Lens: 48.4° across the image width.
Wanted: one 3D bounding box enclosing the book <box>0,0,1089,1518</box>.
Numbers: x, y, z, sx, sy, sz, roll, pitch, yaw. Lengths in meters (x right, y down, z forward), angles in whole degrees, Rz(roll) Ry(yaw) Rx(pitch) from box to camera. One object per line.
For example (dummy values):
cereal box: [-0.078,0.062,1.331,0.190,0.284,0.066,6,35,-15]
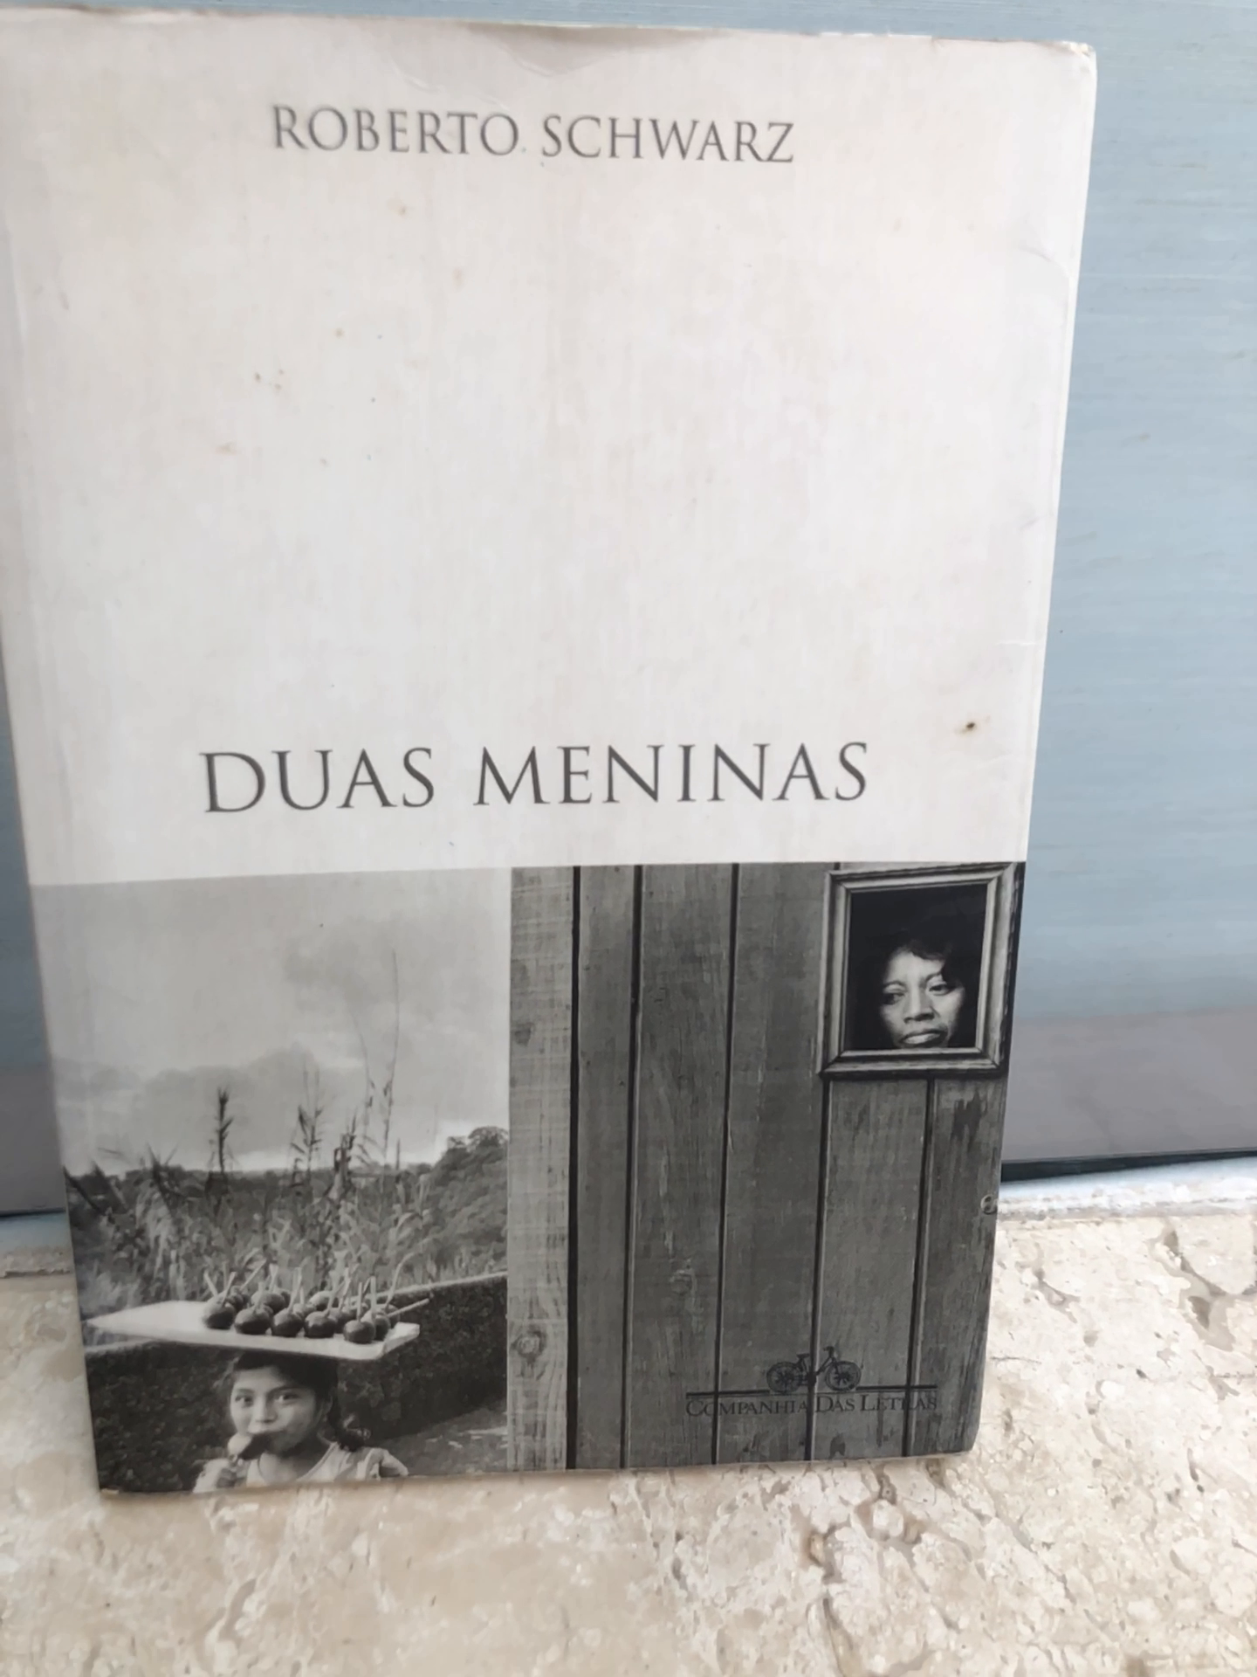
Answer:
book: [-0.017,0.002,0.195,0.139,0.205,0.016,-1,17,-4]
